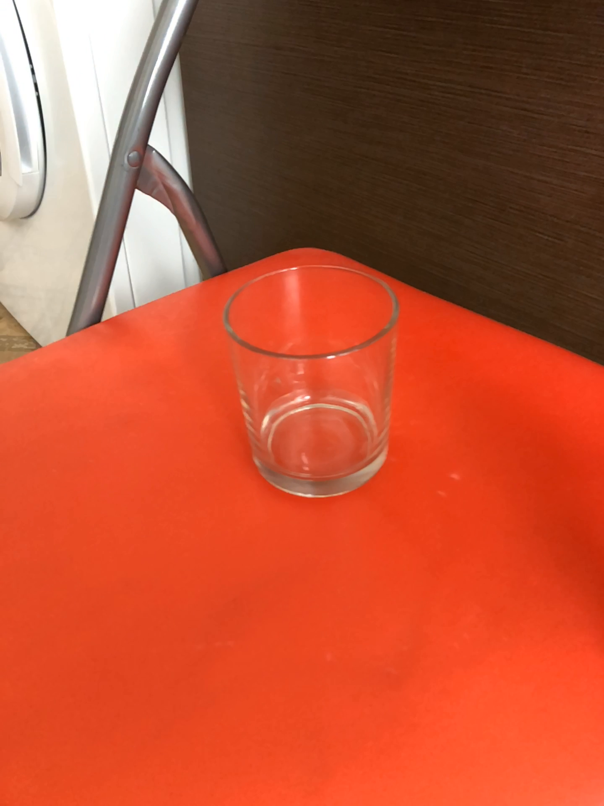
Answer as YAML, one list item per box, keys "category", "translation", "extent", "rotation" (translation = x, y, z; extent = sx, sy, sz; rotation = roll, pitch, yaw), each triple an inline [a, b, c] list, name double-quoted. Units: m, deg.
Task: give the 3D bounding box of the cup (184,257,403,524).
- category: "cup"
  translation: [0.003, -0.008, 0.293]
  extent: [0.077, 0.082, 0.081]
  rotation: [-2, 38, 2]
